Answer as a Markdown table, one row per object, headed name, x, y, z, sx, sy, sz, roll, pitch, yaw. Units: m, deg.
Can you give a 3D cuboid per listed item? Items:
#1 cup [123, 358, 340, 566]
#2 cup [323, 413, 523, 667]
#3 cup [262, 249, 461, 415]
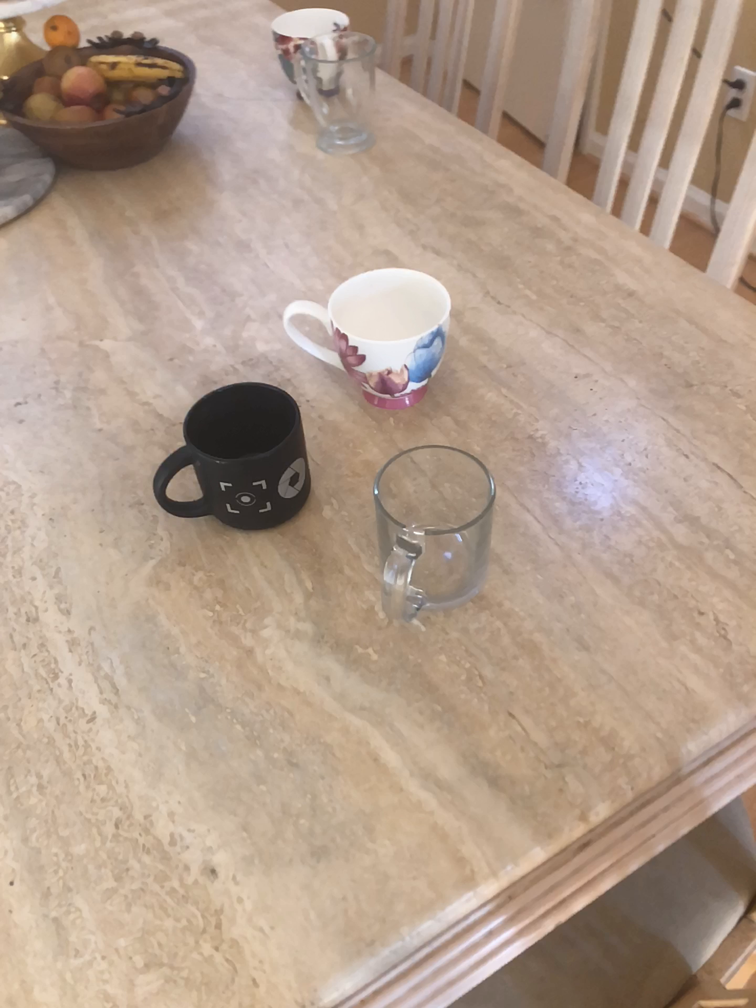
| name | x | y | z | sx | sy | sz | roll | pitch | yaw |
| --- | --- | --- | --- | --- | --- | --- | --- | --- | --- |
| cup | -0.117 | -0.036 | 0.676 | 0.140 | 0.089 | 0.101 | -18 | 50 | -11 |
| cup | 0.037 | 0.023 | 0.604 | 0.090 | 0.089 | 0.141 | 17 | 52 | 18 |
| cup | -0.008 | -0.158 | 0.758 | 0.160 | 0.089 | 0.121 | 3 | 49 | 7 |
